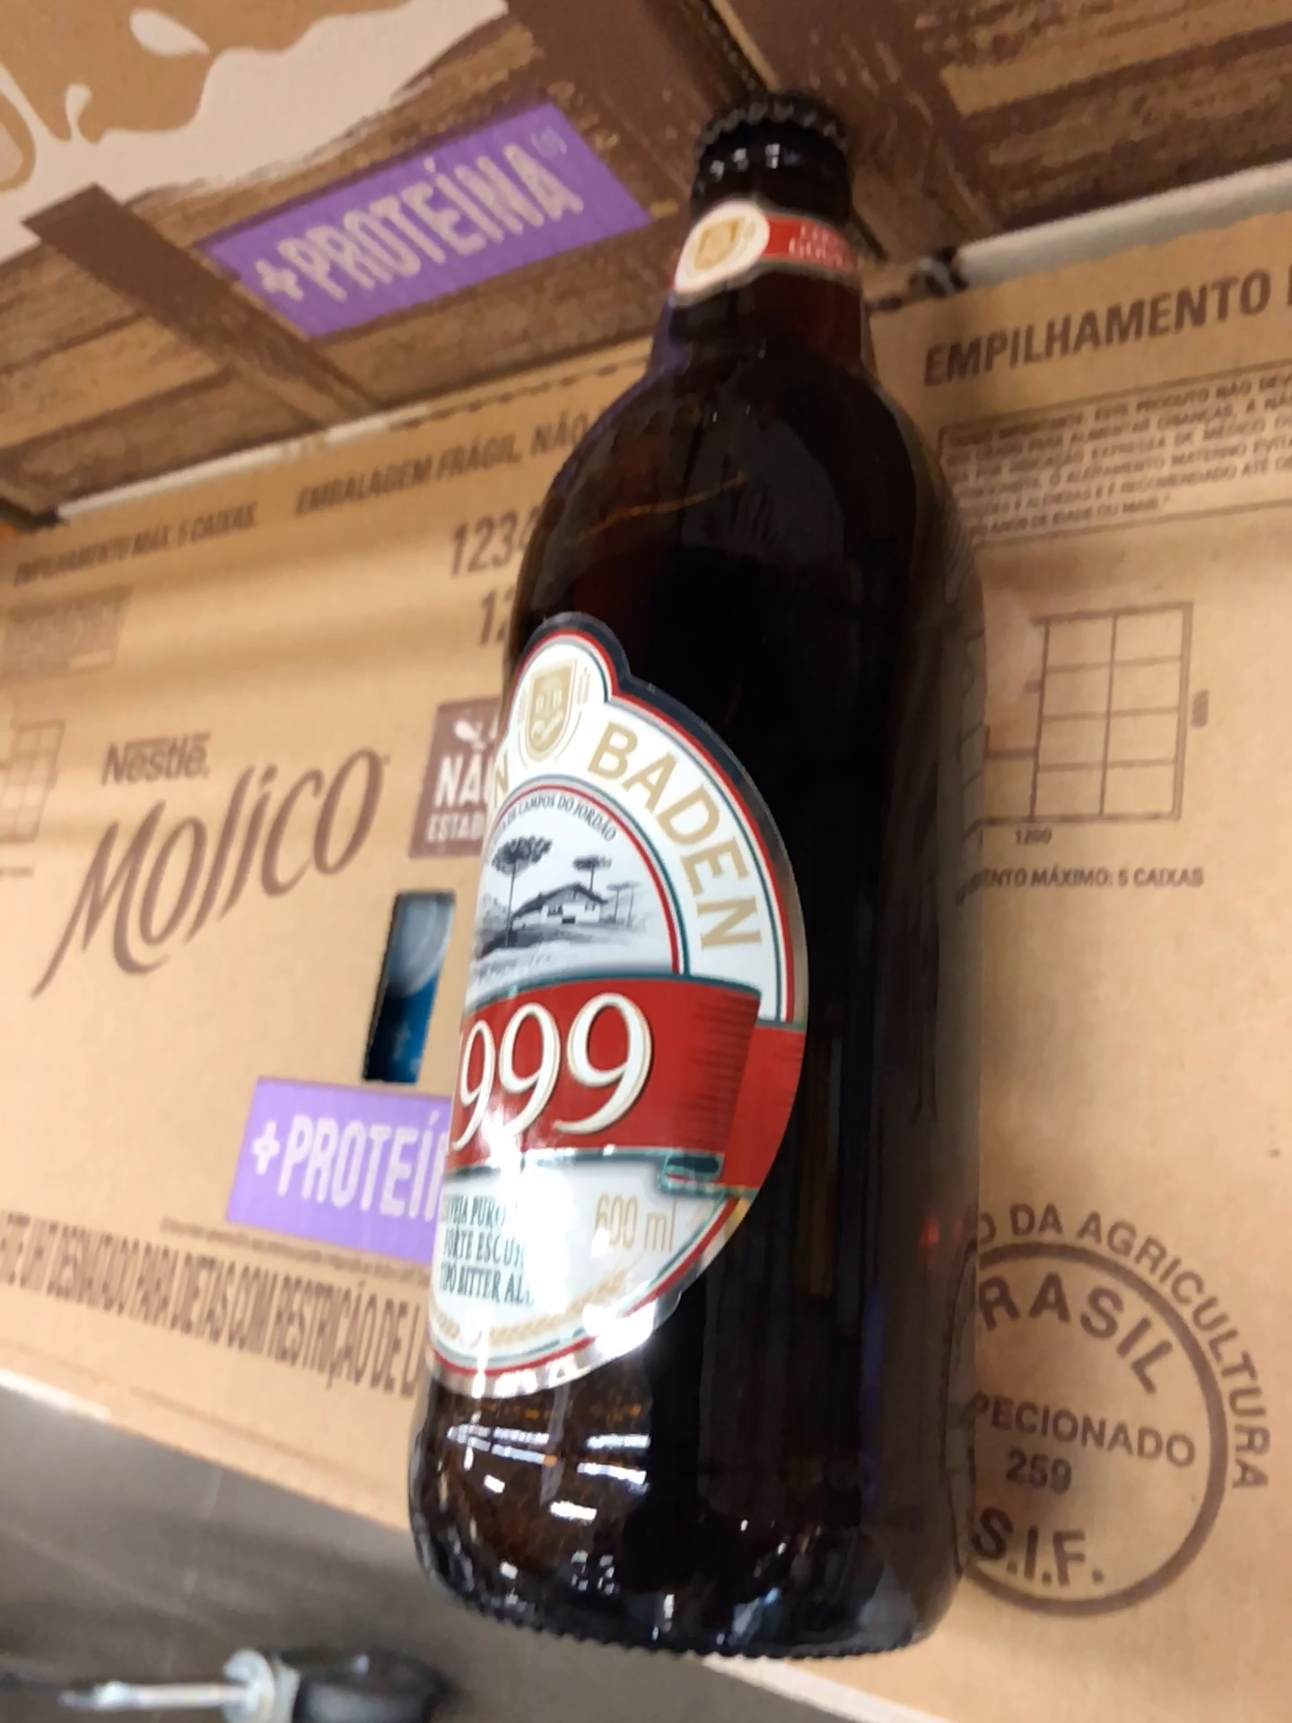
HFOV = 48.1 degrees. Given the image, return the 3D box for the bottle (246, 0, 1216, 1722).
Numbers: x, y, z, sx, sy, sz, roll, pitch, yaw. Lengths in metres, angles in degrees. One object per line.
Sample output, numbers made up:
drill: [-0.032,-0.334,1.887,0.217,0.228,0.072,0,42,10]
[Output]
bottle: [0.027,-0.030,0.236,0.090,0.099,0.280,-8,68,34]
